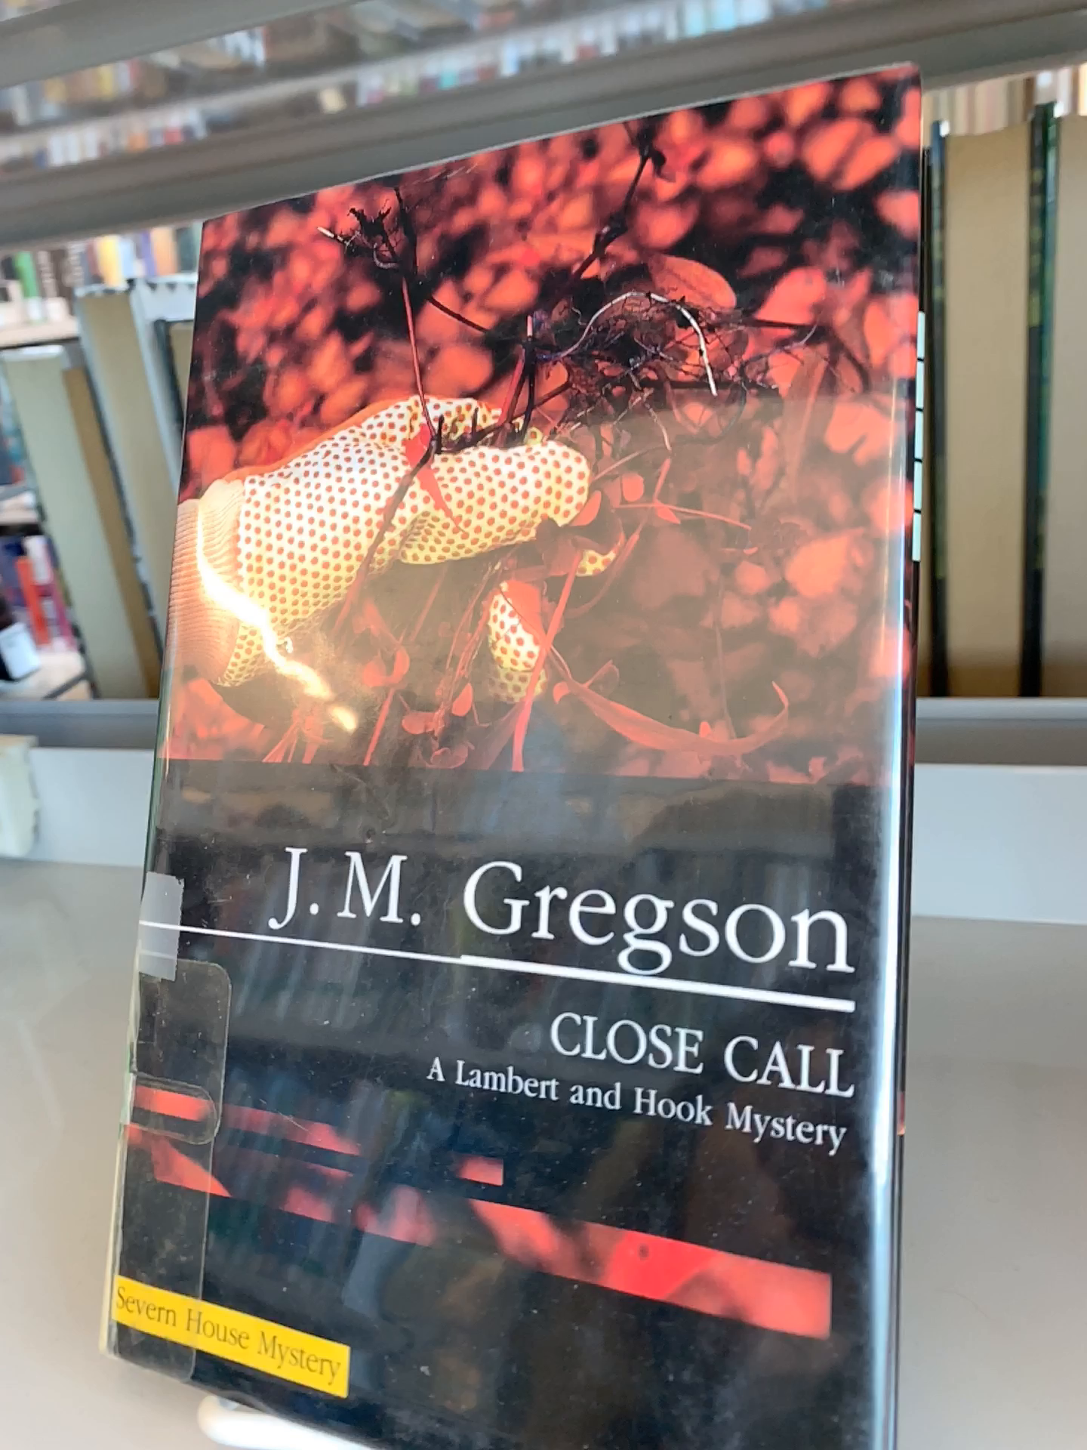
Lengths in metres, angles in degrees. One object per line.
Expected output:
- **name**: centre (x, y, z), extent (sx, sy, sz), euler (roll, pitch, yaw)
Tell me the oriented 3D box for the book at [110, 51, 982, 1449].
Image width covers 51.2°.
- **book**: centre (-0.003, 0.009, 0.194), extent (0.140, 0.208, 0.030), euler (1, -5, 25)
